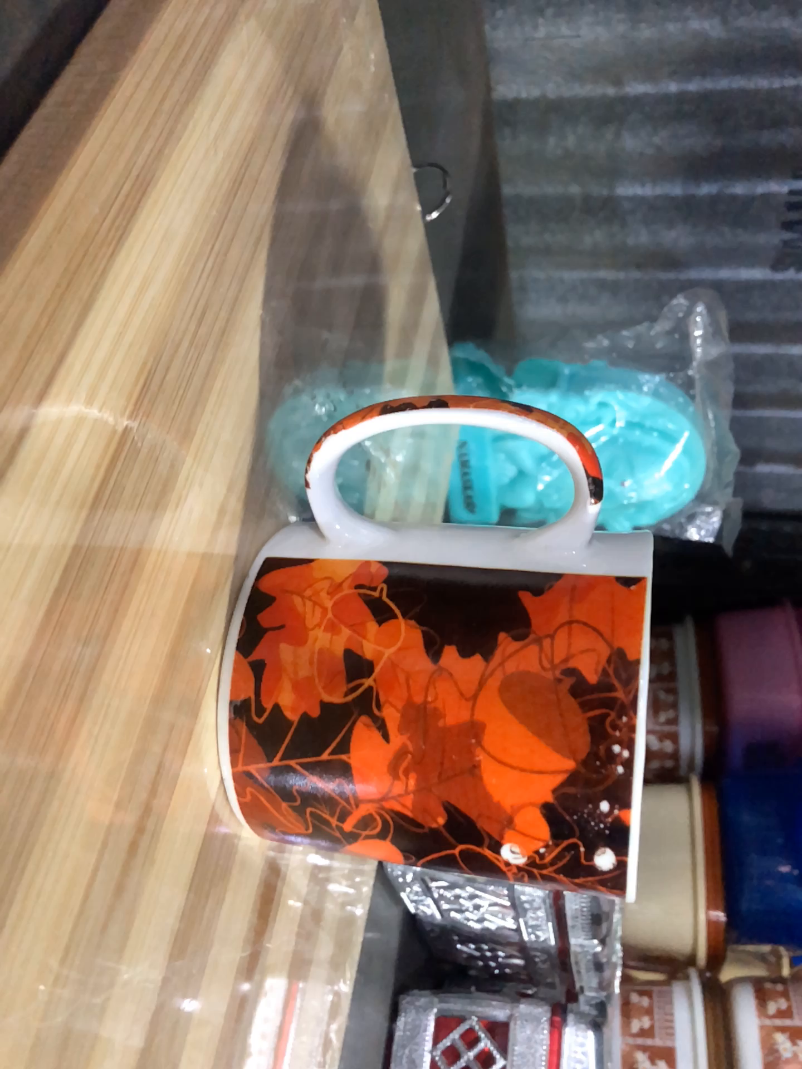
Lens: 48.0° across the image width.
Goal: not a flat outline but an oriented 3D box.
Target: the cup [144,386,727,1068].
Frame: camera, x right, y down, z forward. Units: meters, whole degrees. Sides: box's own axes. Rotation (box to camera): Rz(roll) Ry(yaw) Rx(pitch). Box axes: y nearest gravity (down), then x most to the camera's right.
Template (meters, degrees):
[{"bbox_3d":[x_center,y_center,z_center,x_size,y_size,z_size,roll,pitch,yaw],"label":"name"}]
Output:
[{"bbox_3d":[0.014,0.034,0.178,0.080,0.080,0.110,-59,149,-64],"label":"cup"}]
